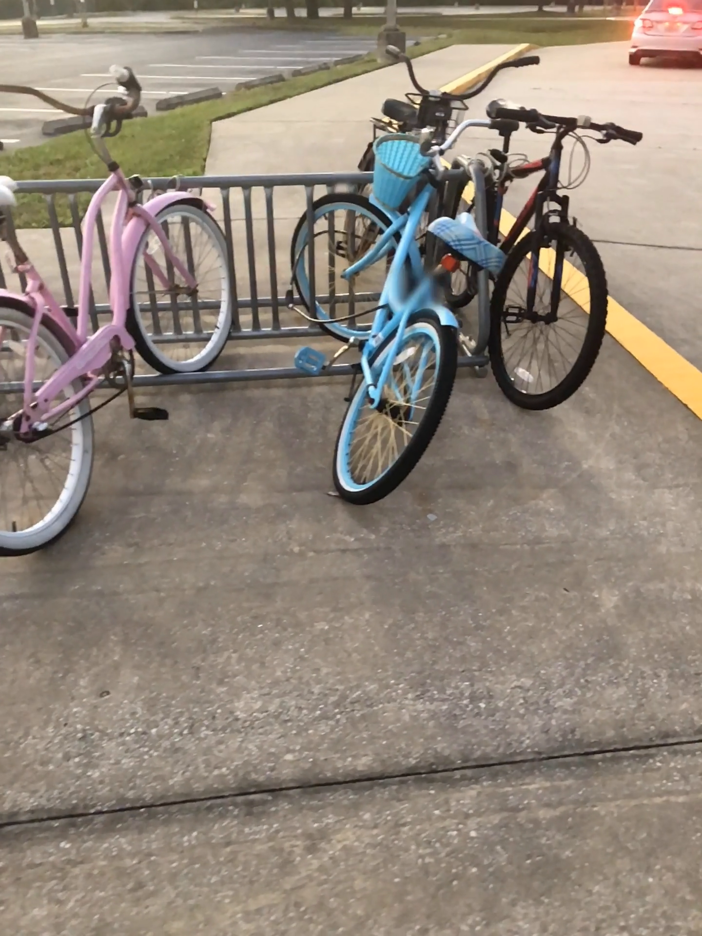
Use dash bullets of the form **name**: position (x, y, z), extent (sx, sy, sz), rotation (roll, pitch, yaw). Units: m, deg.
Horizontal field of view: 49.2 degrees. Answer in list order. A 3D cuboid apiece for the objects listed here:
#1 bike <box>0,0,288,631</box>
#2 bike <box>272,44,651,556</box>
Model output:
- **bike**: position (-0.830, -0.676, 2.223), extent (0.772, 1.145, 1.616), rotation (7, 39, 13)
- **bike**: position (0.195, -0.635, 2.436), extent (0.583, 0.953, 1.426), rotation (-7, 38, -11)
